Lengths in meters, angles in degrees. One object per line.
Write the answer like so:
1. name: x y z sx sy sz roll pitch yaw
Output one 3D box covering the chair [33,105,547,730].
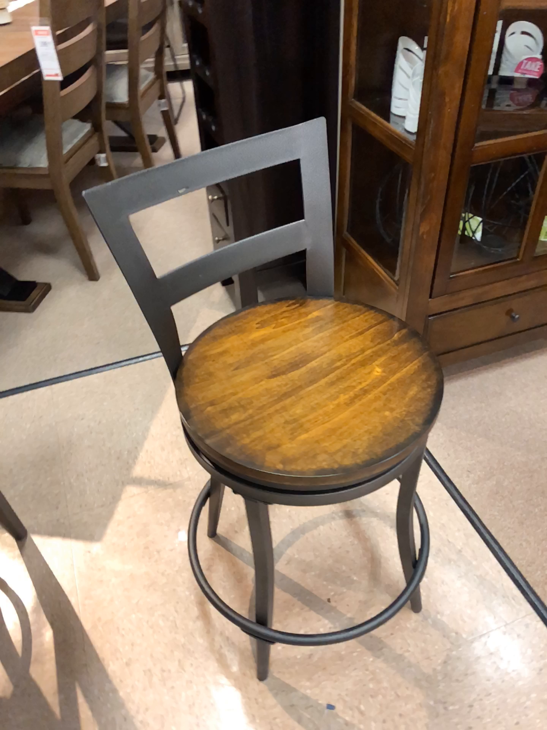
1. chair: 0.040 0.100 0.988 0.491 0.804 0.462 -26 46 -25
